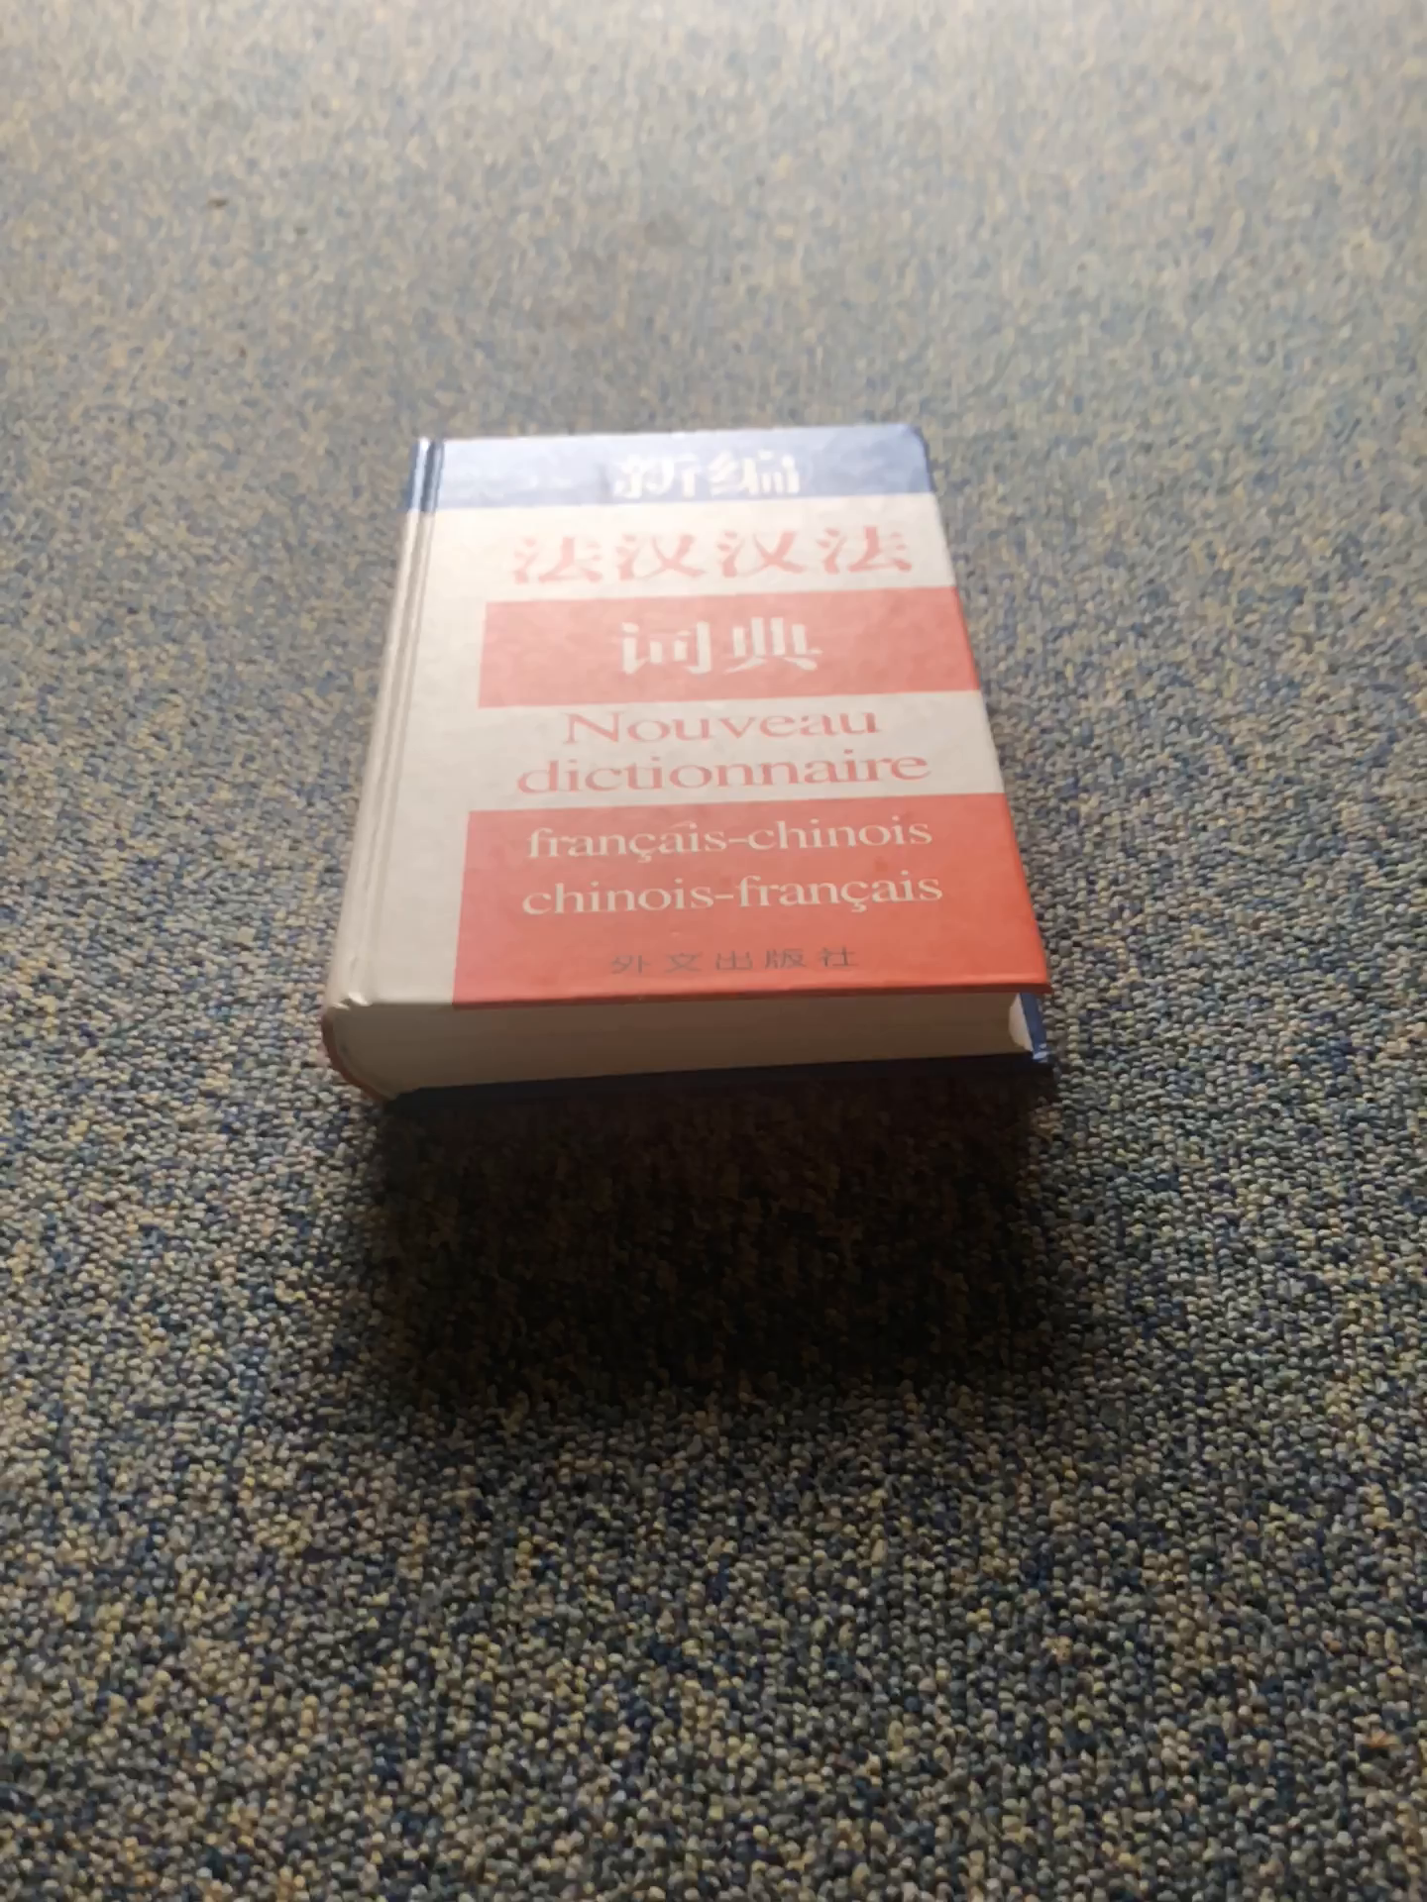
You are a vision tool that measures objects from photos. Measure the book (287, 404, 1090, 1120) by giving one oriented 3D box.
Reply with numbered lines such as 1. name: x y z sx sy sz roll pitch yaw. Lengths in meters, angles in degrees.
1. book: -0.009 -0.059 0.382 0.153 0.034 0.210 -2 49 -1
